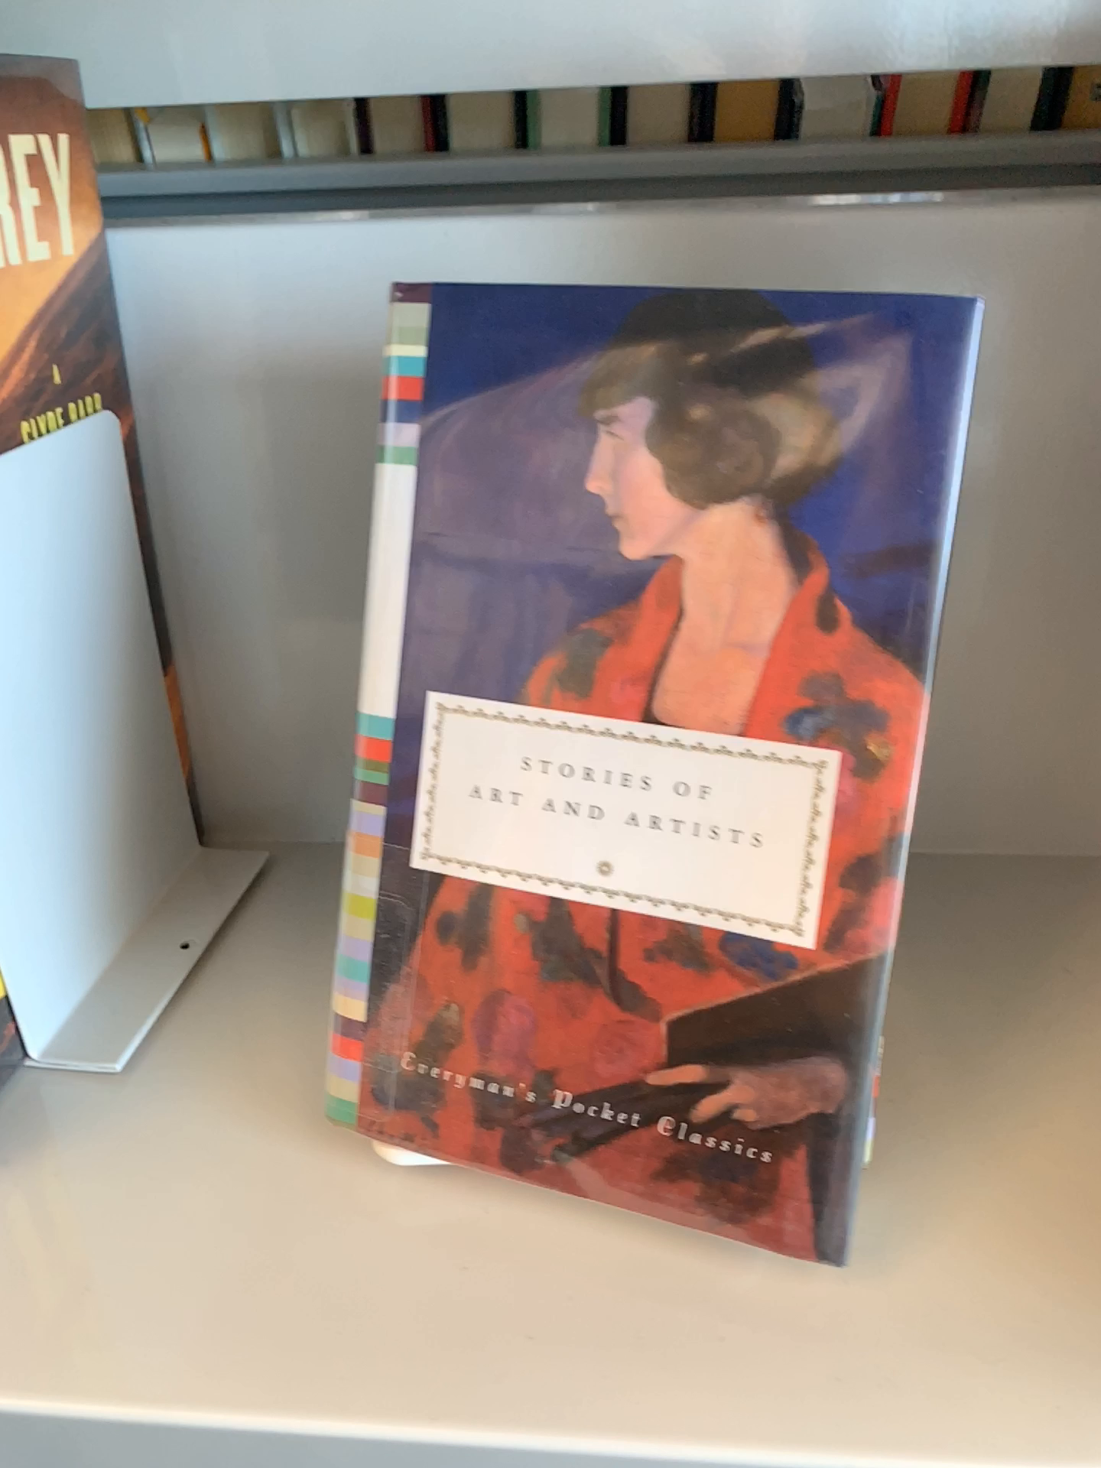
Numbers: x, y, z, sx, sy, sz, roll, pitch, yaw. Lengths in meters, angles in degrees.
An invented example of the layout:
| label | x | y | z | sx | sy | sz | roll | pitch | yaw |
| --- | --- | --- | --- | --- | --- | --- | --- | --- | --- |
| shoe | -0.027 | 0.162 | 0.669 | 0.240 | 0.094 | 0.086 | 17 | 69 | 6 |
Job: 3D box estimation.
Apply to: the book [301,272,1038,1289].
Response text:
| label | x | y | z | sx | sy | sz | roll | pitch | yaw |
| --- | --- | --- | --- | --- | --- | --- | --- | --- | --- |
| book | 0.020 | 0.004 | 0.249 | 0.129 | 0.187 | 0.040 | 9 | 9 | 19 |
